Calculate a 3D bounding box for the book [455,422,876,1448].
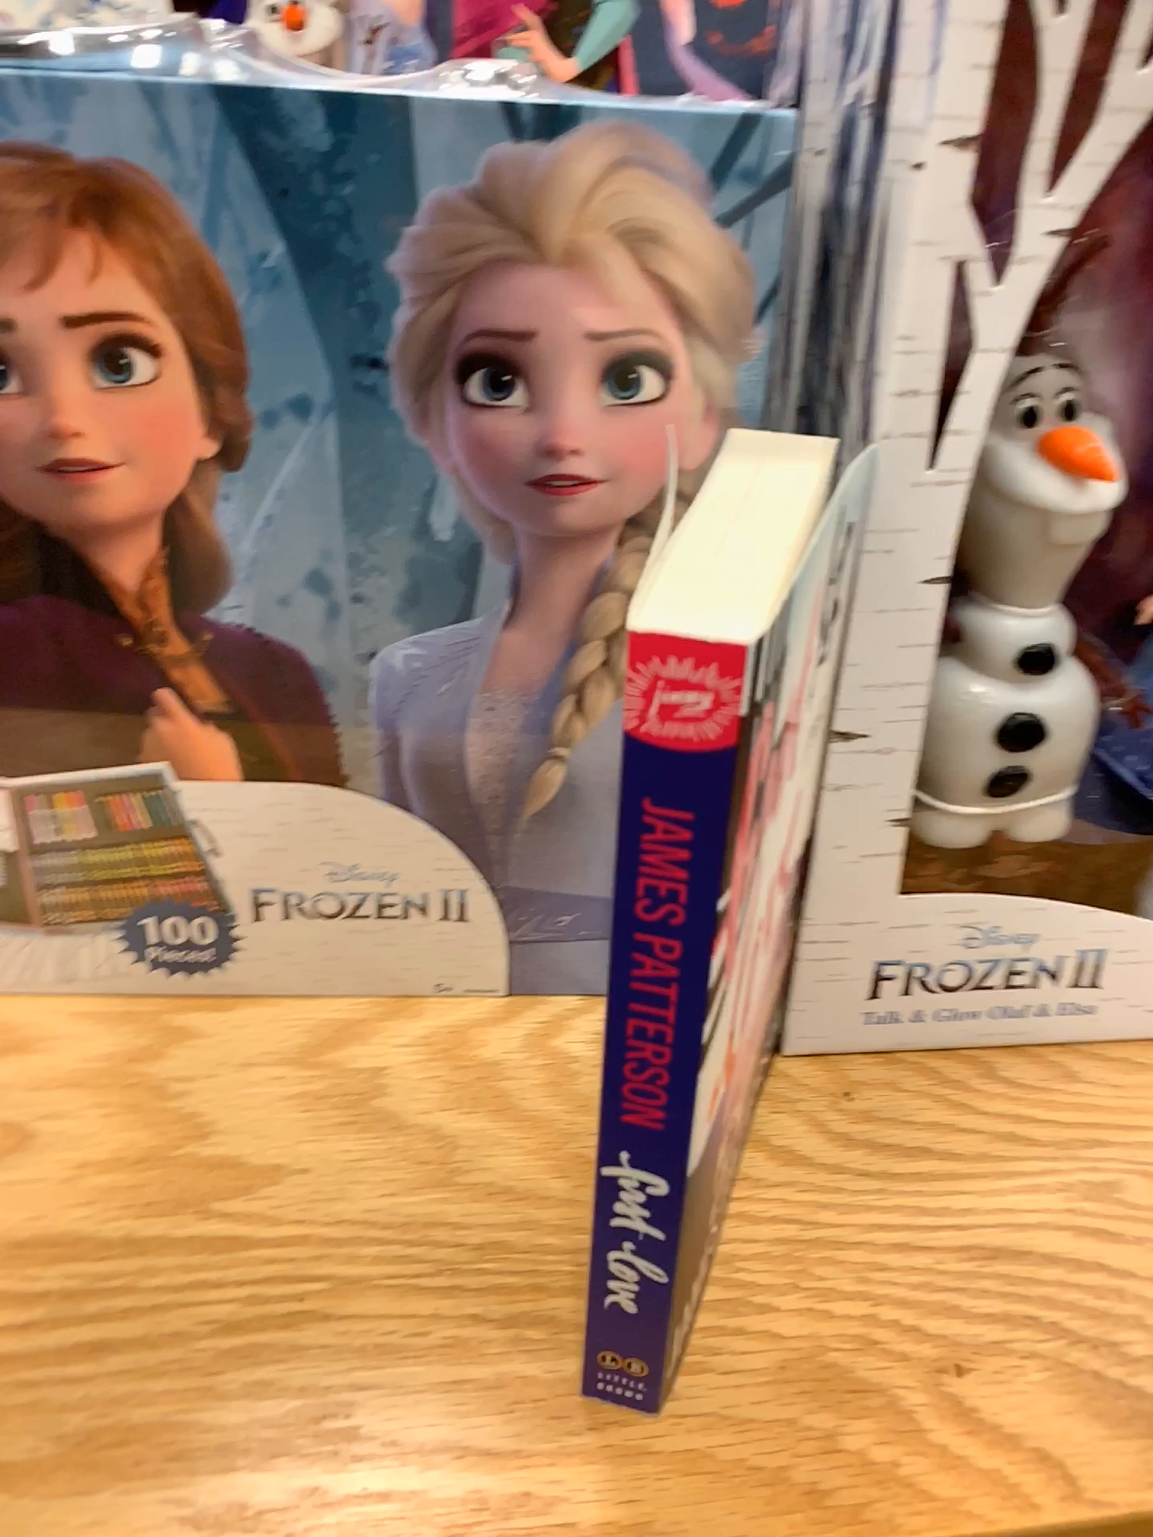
[{"bbox_3d":[0.028,0.034,0.299,0.059,0.205,0.143,8,30,14],"label":"book"}]
